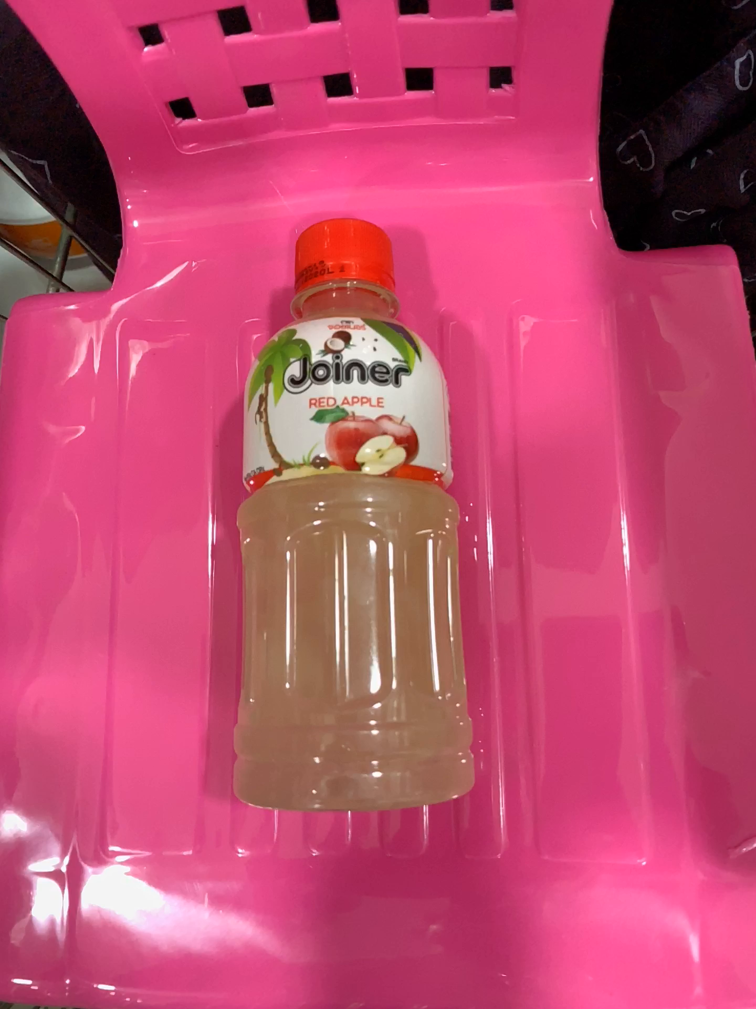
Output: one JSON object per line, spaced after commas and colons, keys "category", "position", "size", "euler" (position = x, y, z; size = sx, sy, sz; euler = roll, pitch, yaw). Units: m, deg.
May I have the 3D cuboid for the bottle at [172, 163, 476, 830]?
{"category": "bottle", "position": [-0.013, -0.002, 0.213], "size": [0.070, 0.050, 0.160], "euler": [-3, 81, 6]}
